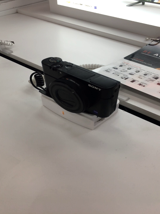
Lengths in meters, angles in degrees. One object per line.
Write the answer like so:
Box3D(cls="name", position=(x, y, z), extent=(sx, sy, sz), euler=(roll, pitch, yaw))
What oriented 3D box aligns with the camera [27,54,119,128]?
Box3D(cls="camera", position=(-0.011, -0.022, 0.276), extent=(0.107, 0.066, 0.032), euler=(27, 55, 26))
